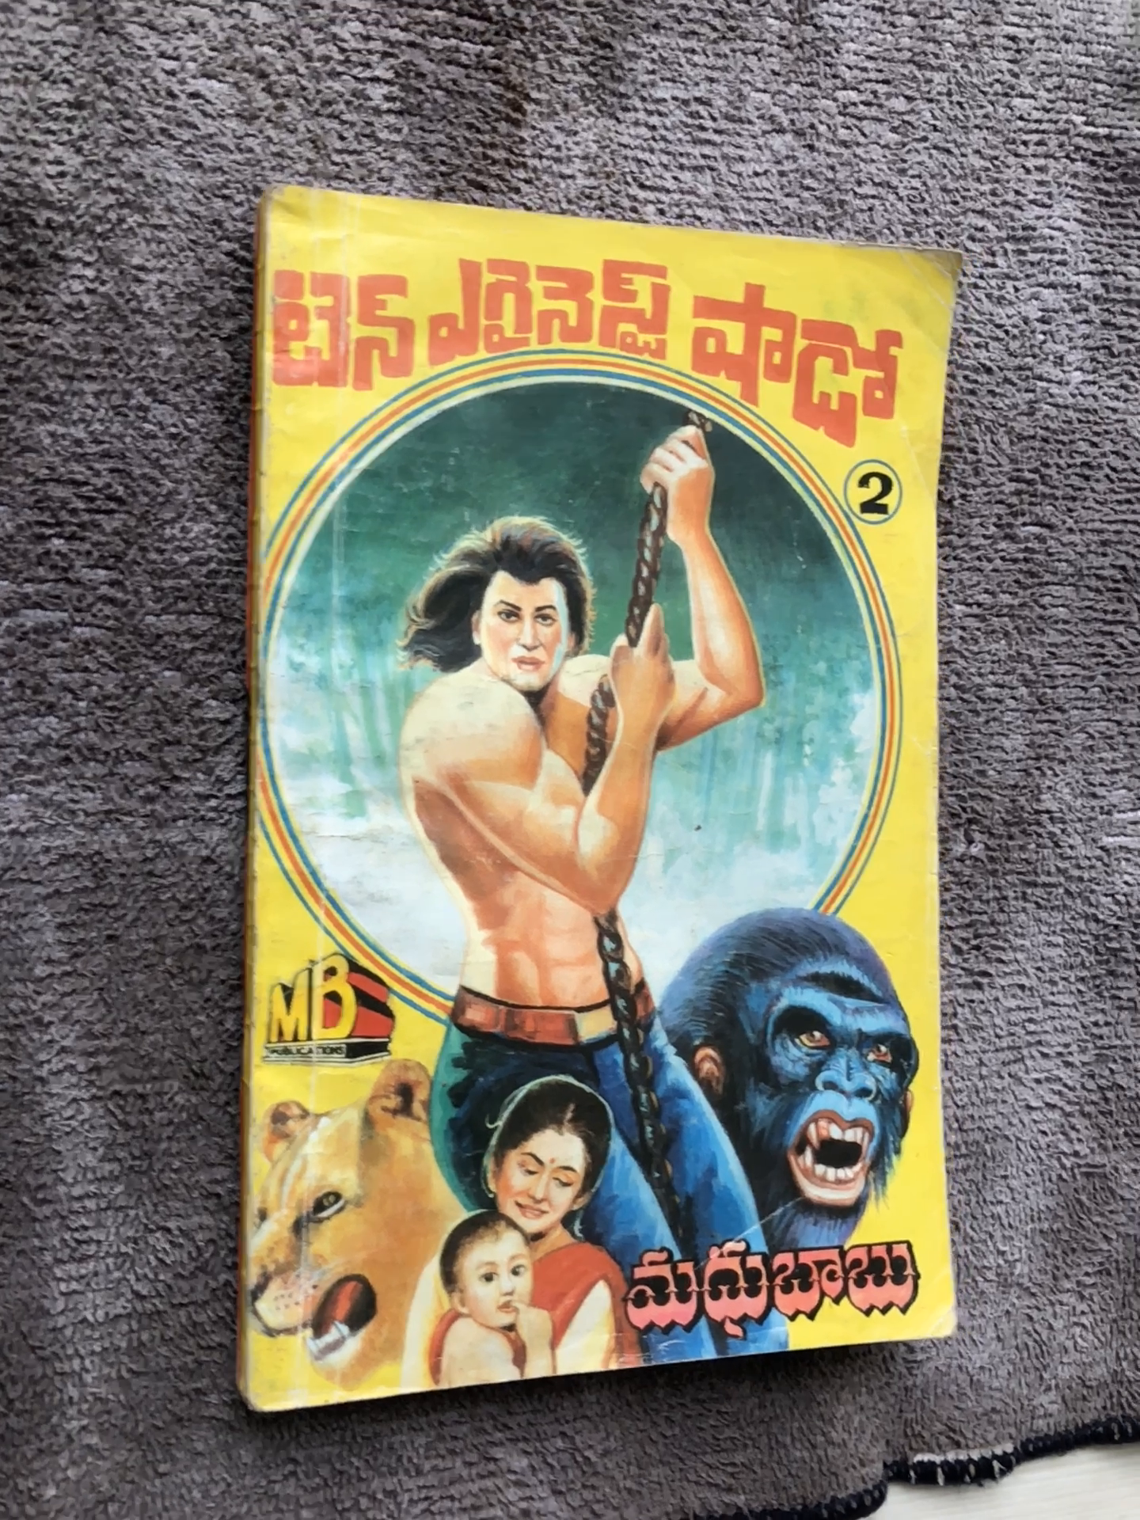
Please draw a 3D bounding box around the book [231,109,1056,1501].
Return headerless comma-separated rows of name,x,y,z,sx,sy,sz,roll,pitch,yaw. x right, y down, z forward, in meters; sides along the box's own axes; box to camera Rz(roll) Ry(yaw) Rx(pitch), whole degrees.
book,0.011,0.004,0.174,0.110,0.020,0.160,0,88,-18
